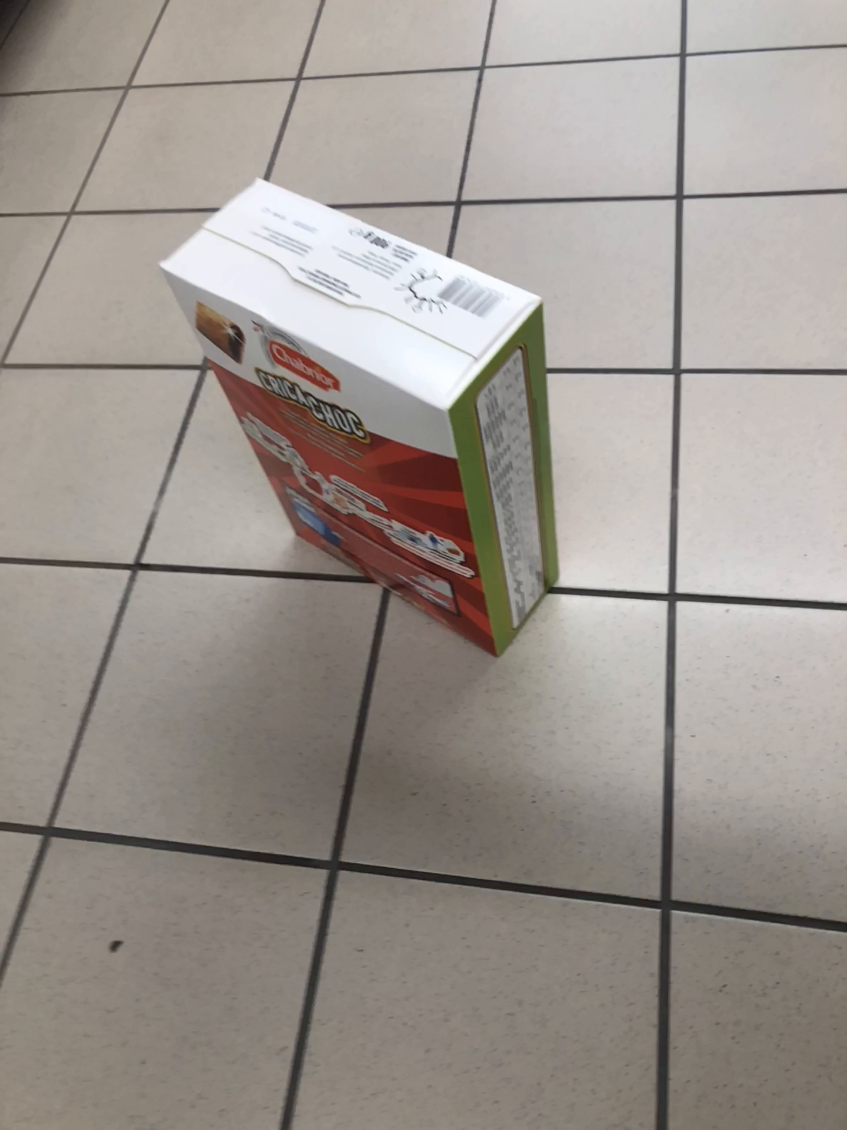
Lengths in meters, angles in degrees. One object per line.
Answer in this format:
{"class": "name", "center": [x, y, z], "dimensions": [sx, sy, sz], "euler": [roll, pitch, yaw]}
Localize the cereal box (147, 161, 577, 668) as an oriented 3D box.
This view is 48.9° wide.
{"class": "cereal box", "center": [-0.017, -0.074, 0.561], "dimensions": [0.200, 0.269, 0.080], "euler": [31, 70, 25]}
